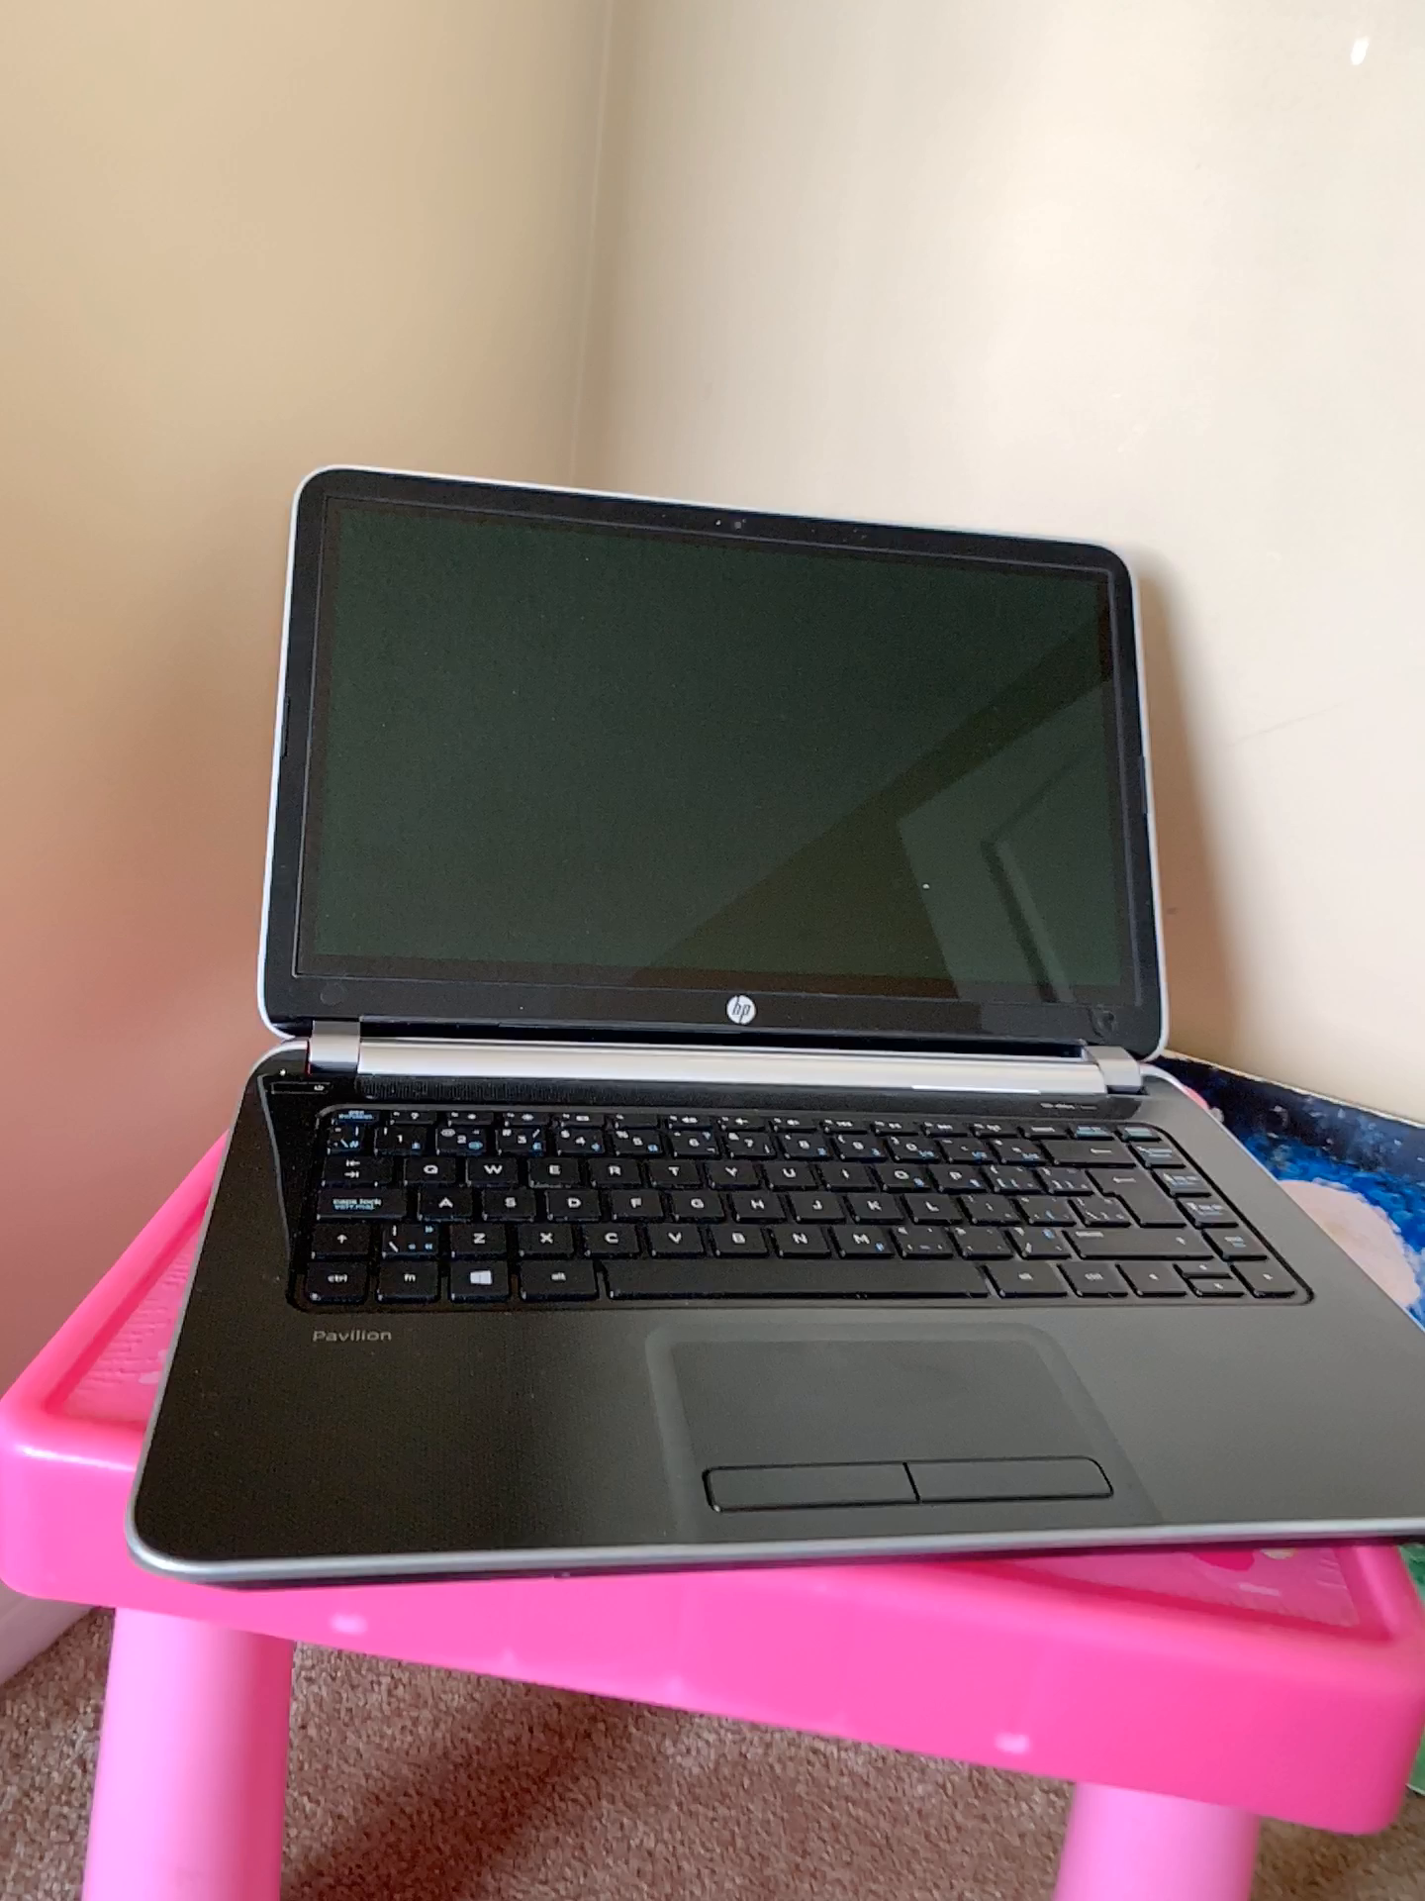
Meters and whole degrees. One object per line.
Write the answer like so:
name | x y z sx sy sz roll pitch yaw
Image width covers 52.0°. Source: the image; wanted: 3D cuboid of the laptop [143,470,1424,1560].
laptop | 0.021 -0.015 0.388 0.274 0.161 0.272 2 23 -12
